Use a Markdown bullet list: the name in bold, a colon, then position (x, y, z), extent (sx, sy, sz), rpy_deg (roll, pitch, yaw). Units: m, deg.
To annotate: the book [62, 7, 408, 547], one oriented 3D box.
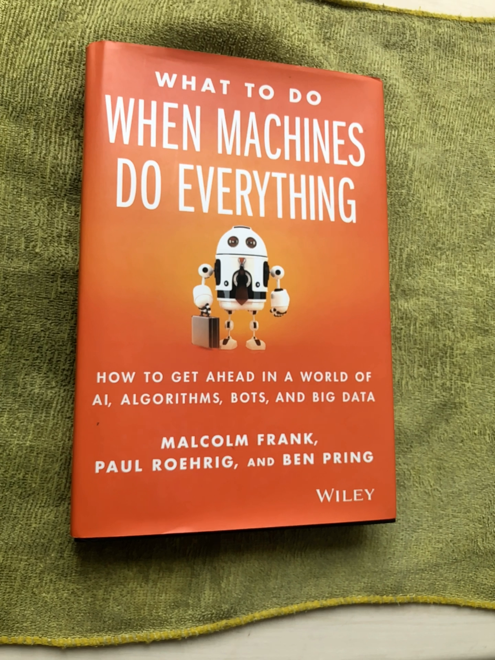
- **book**: position (-0.004, -0.025, 0.281), extent (0.160, 0.040, 0.240), rpy_deg (2, 84, -15)
